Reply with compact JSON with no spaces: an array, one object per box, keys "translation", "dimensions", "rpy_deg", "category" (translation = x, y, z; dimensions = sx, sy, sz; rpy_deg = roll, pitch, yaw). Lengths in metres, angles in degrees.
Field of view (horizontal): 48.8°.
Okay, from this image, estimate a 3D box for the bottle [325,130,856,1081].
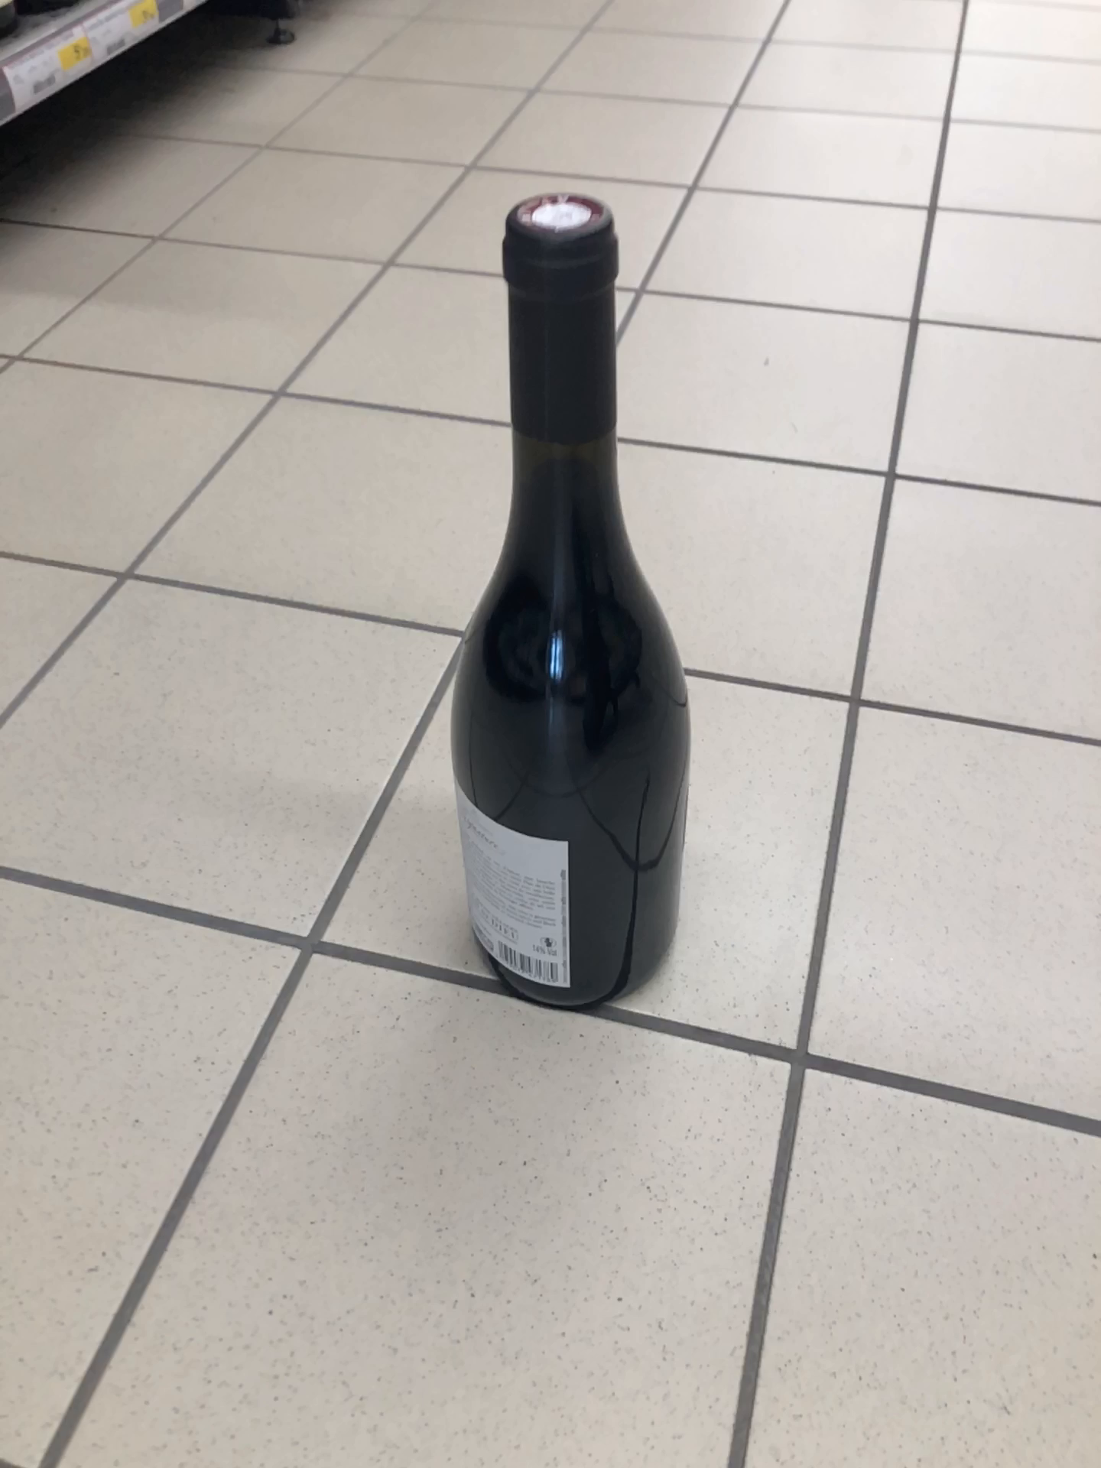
[{"translation":[0.012,-0.020,0.392],"dimensions":[0.090,0.288,0.090],"rpy_deg":[-1,44,1],"category":"bottle"}]
